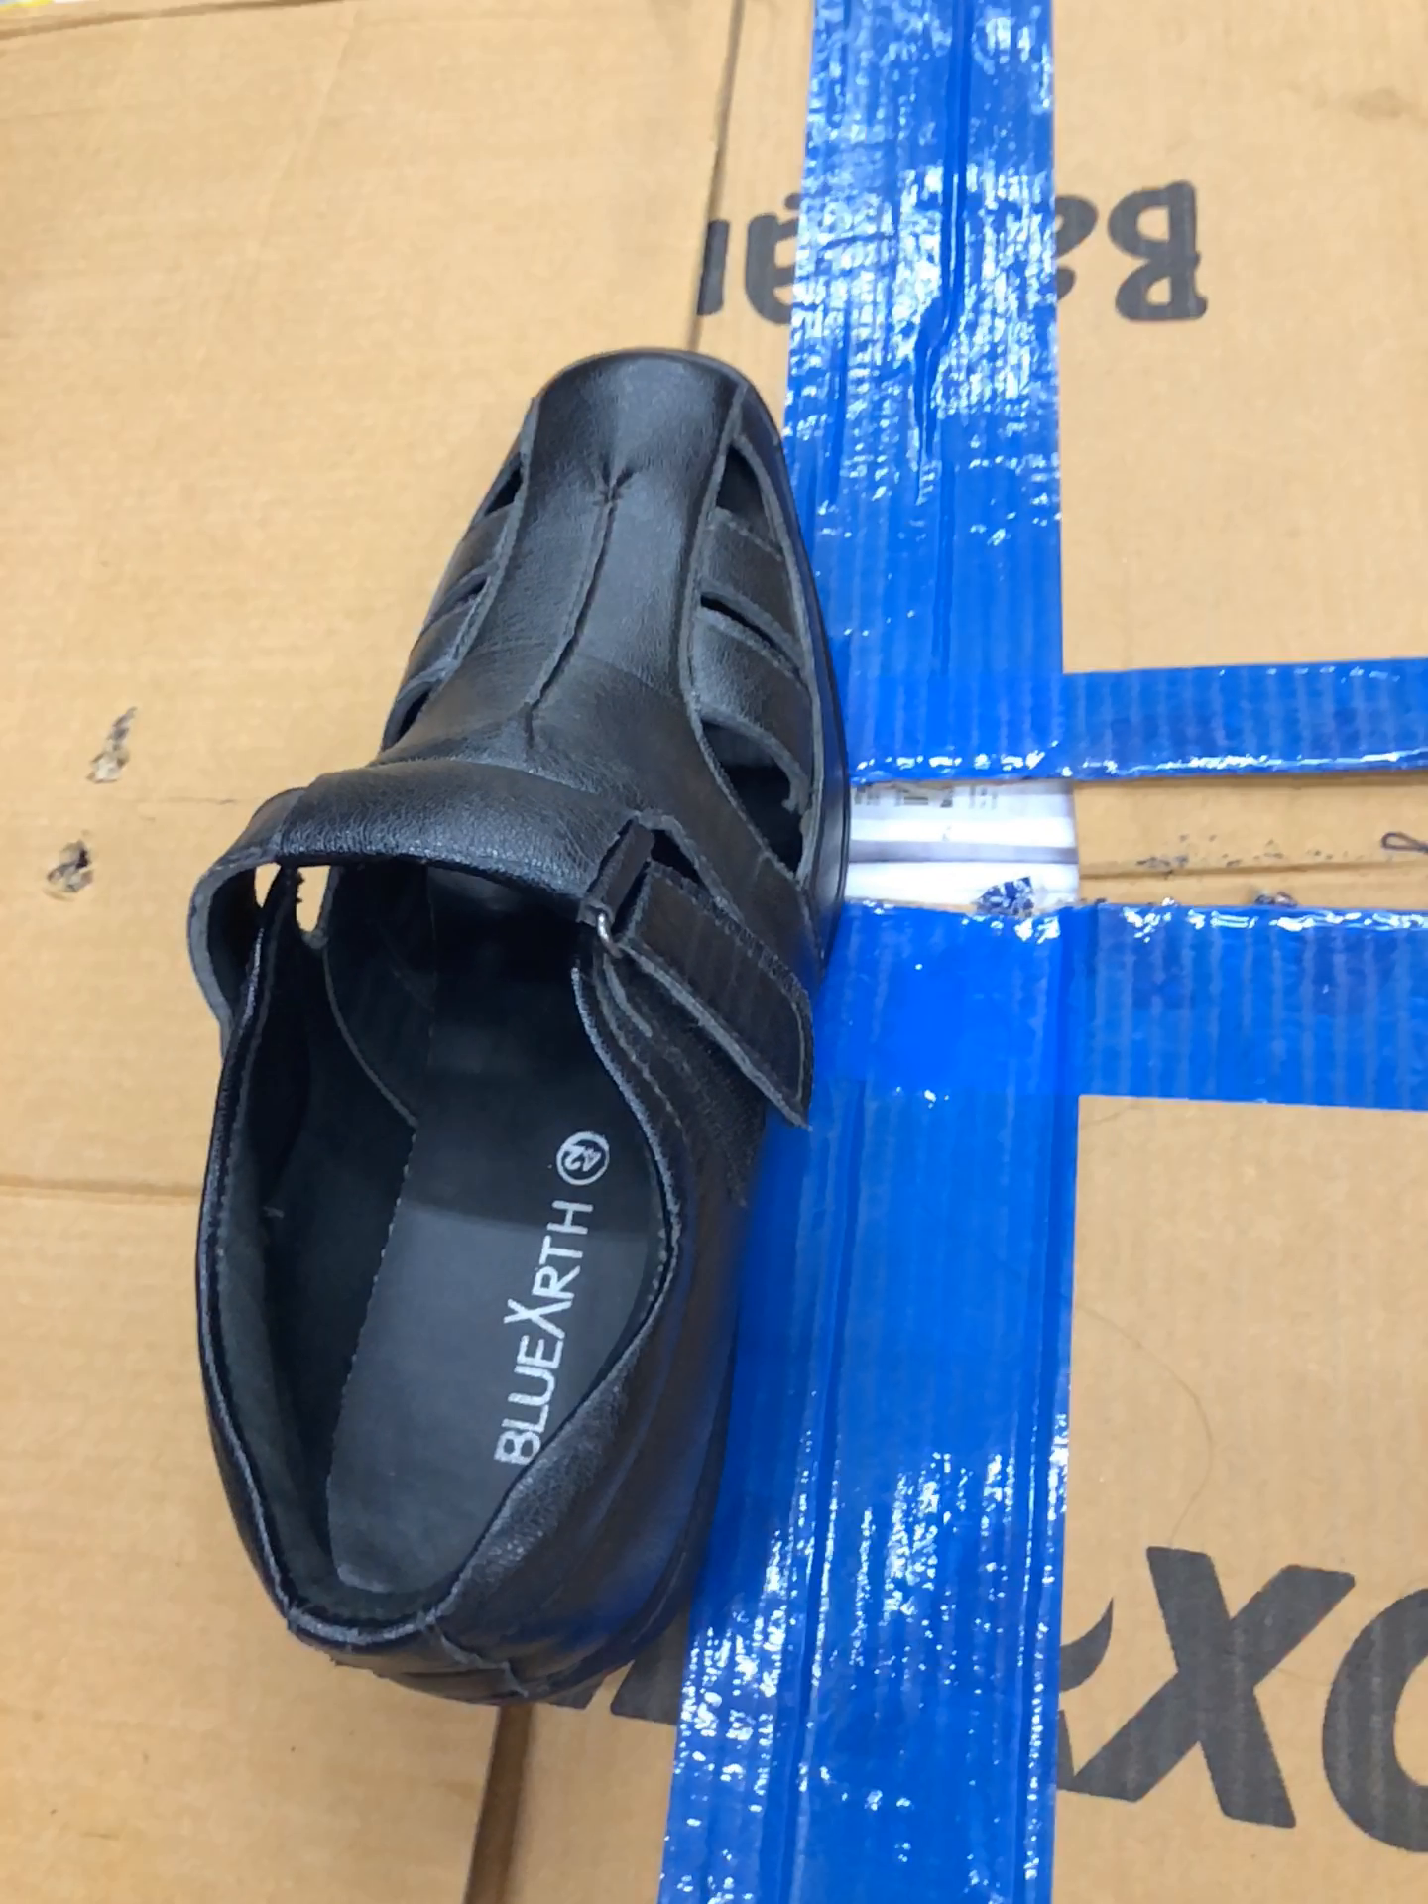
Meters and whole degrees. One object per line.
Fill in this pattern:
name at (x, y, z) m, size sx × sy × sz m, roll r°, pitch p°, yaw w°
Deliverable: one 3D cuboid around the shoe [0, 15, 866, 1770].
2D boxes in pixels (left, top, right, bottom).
shoe at (-0.031, -0.022, 0.300) m, size 0.100 × 0.100 × 0.301 m, roll 0°, pitch 66°, yaw 11°
